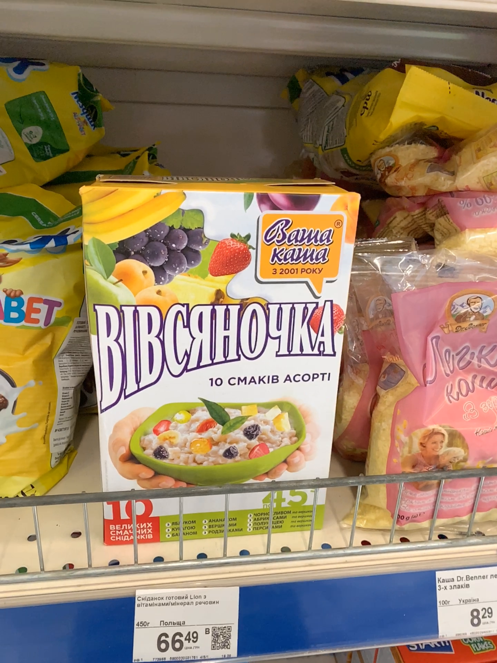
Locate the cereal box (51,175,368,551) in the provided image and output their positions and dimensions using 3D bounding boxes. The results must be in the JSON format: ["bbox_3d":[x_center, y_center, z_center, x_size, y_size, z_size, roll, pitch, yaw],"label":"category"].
[{"bbox_3d":[-0.023,0.018,0.313,0.150,0.209,0.070,-1,20,-8],"label":"cereal box"}]
